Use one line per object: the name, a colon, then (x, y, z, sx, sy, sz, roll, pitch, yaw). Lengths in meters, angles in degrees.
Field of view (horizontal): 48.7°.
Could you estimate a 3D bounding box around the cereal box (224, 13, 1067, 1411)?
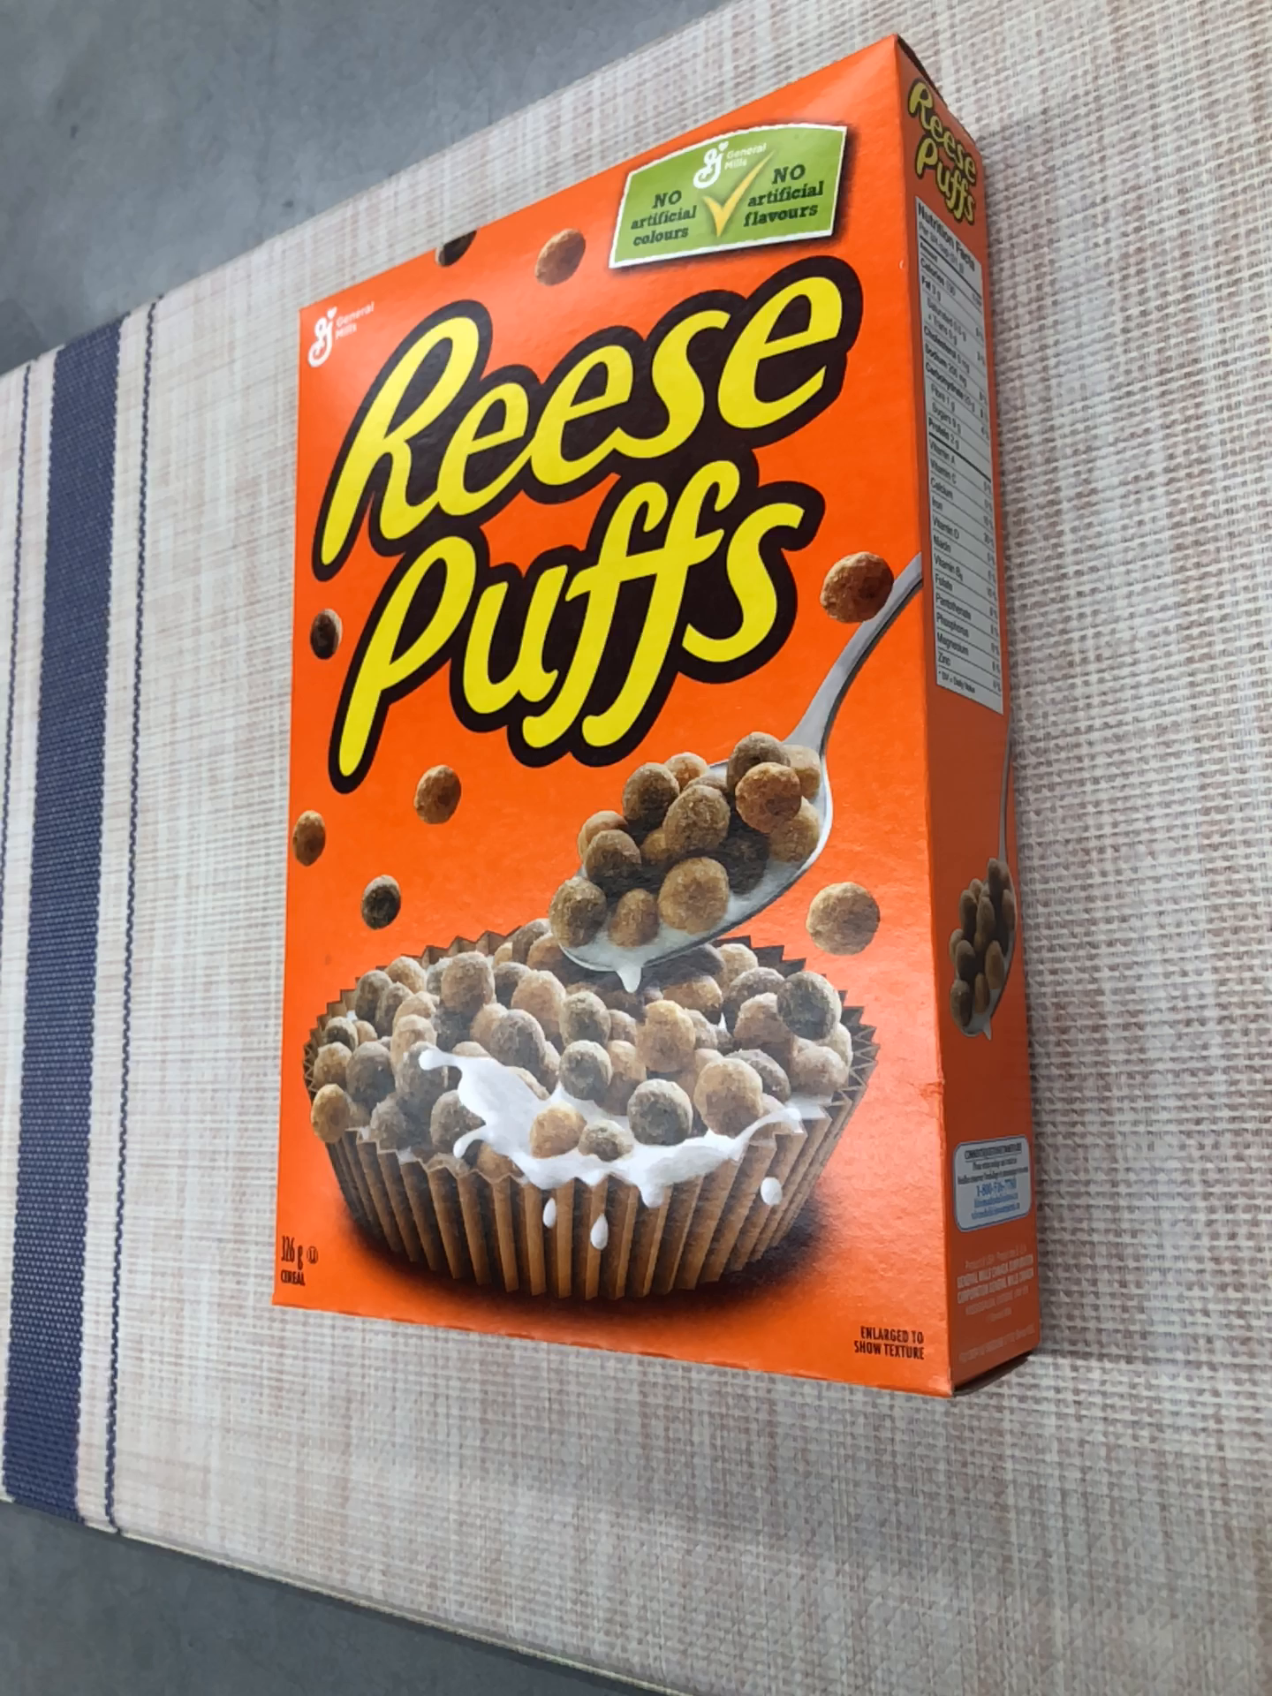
cereal box: (-0.010, -0.024, 0.354, 0.201, 0.060, 0.280, -6, 81, 32)
